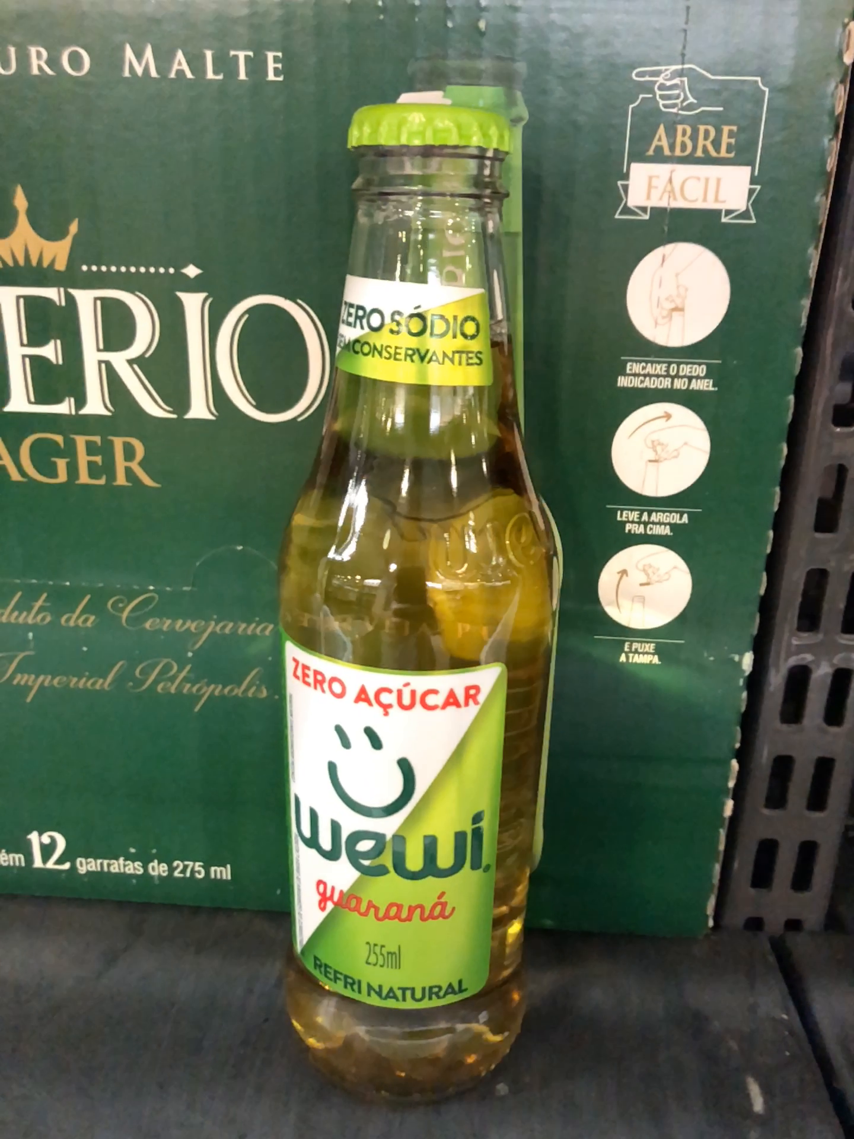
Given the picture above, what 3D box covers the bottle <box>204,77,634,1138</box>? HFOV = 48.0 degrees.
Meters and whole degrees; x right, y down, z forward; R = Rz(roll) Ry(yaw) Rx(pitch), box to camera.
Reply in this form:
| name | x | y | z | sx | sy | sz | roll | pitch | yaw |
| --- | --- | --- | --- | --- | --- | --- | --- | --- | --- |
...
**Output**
| name | x | y | z | sx | sy | sz | roll | pitch | yaw |
| --- | --- | --- | --- | --- | --- | --- | --- | --- | --- |
| bottle | -0.001 | 0.015 | 0.194 | 0.060 | 0.199 | 0.050 | 7 | 21 | 15 |
